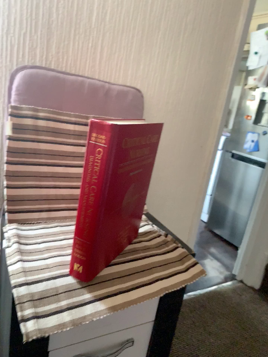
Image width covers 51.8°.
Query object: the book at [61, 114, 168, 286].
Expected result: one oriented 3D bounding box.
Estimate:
[{"bbox_3d":[-0.028,0.020,0.570,0.060,0.288,0.251,18,17,20],"label":"book"}]
